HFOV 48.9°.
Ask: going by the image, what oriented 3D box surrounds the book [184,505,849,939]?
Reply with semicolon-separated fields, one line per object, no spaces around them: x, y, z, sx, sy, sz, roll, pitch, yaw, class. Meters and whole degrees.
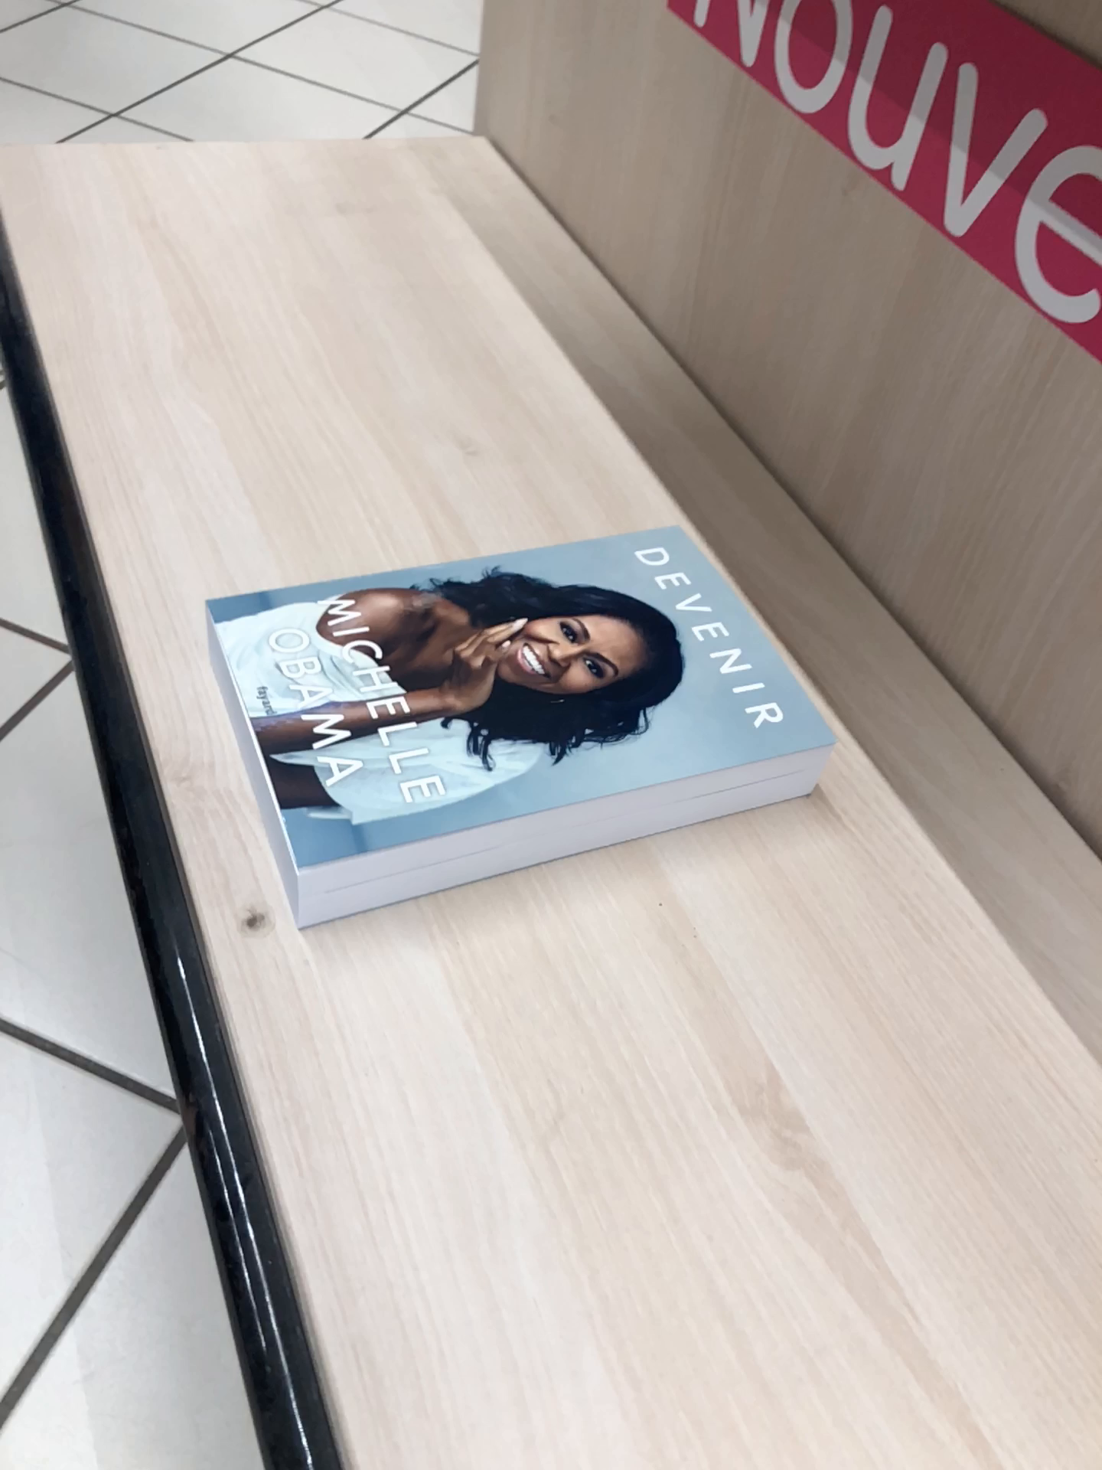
-0.019;-0.020;0.527;0.241;0.040;0.163;-12;50;-20;book
